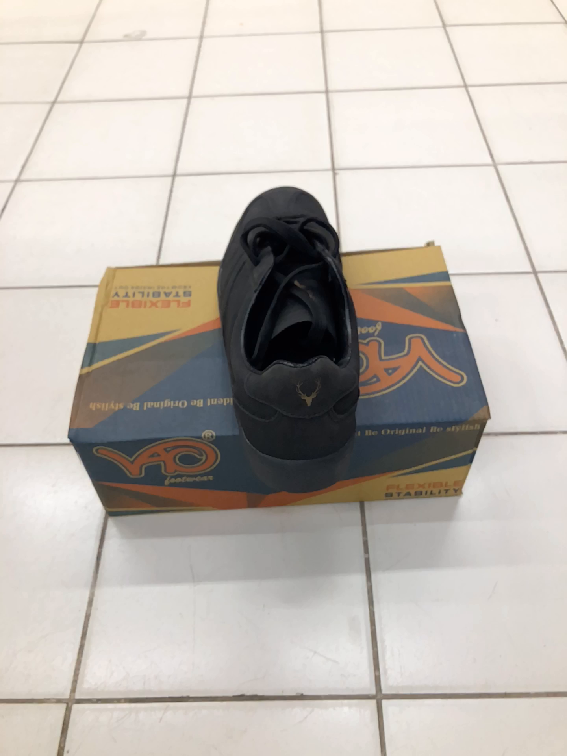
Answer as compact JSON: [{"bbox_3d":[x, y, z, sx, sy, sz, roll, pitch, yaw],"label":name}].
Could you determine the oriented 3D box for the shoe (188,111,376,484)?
[{"bbox_3d":[-0.008,-0.069,0.414,0.090,0.080,0.261,-4,51,-1],"label":"shoe"}]
